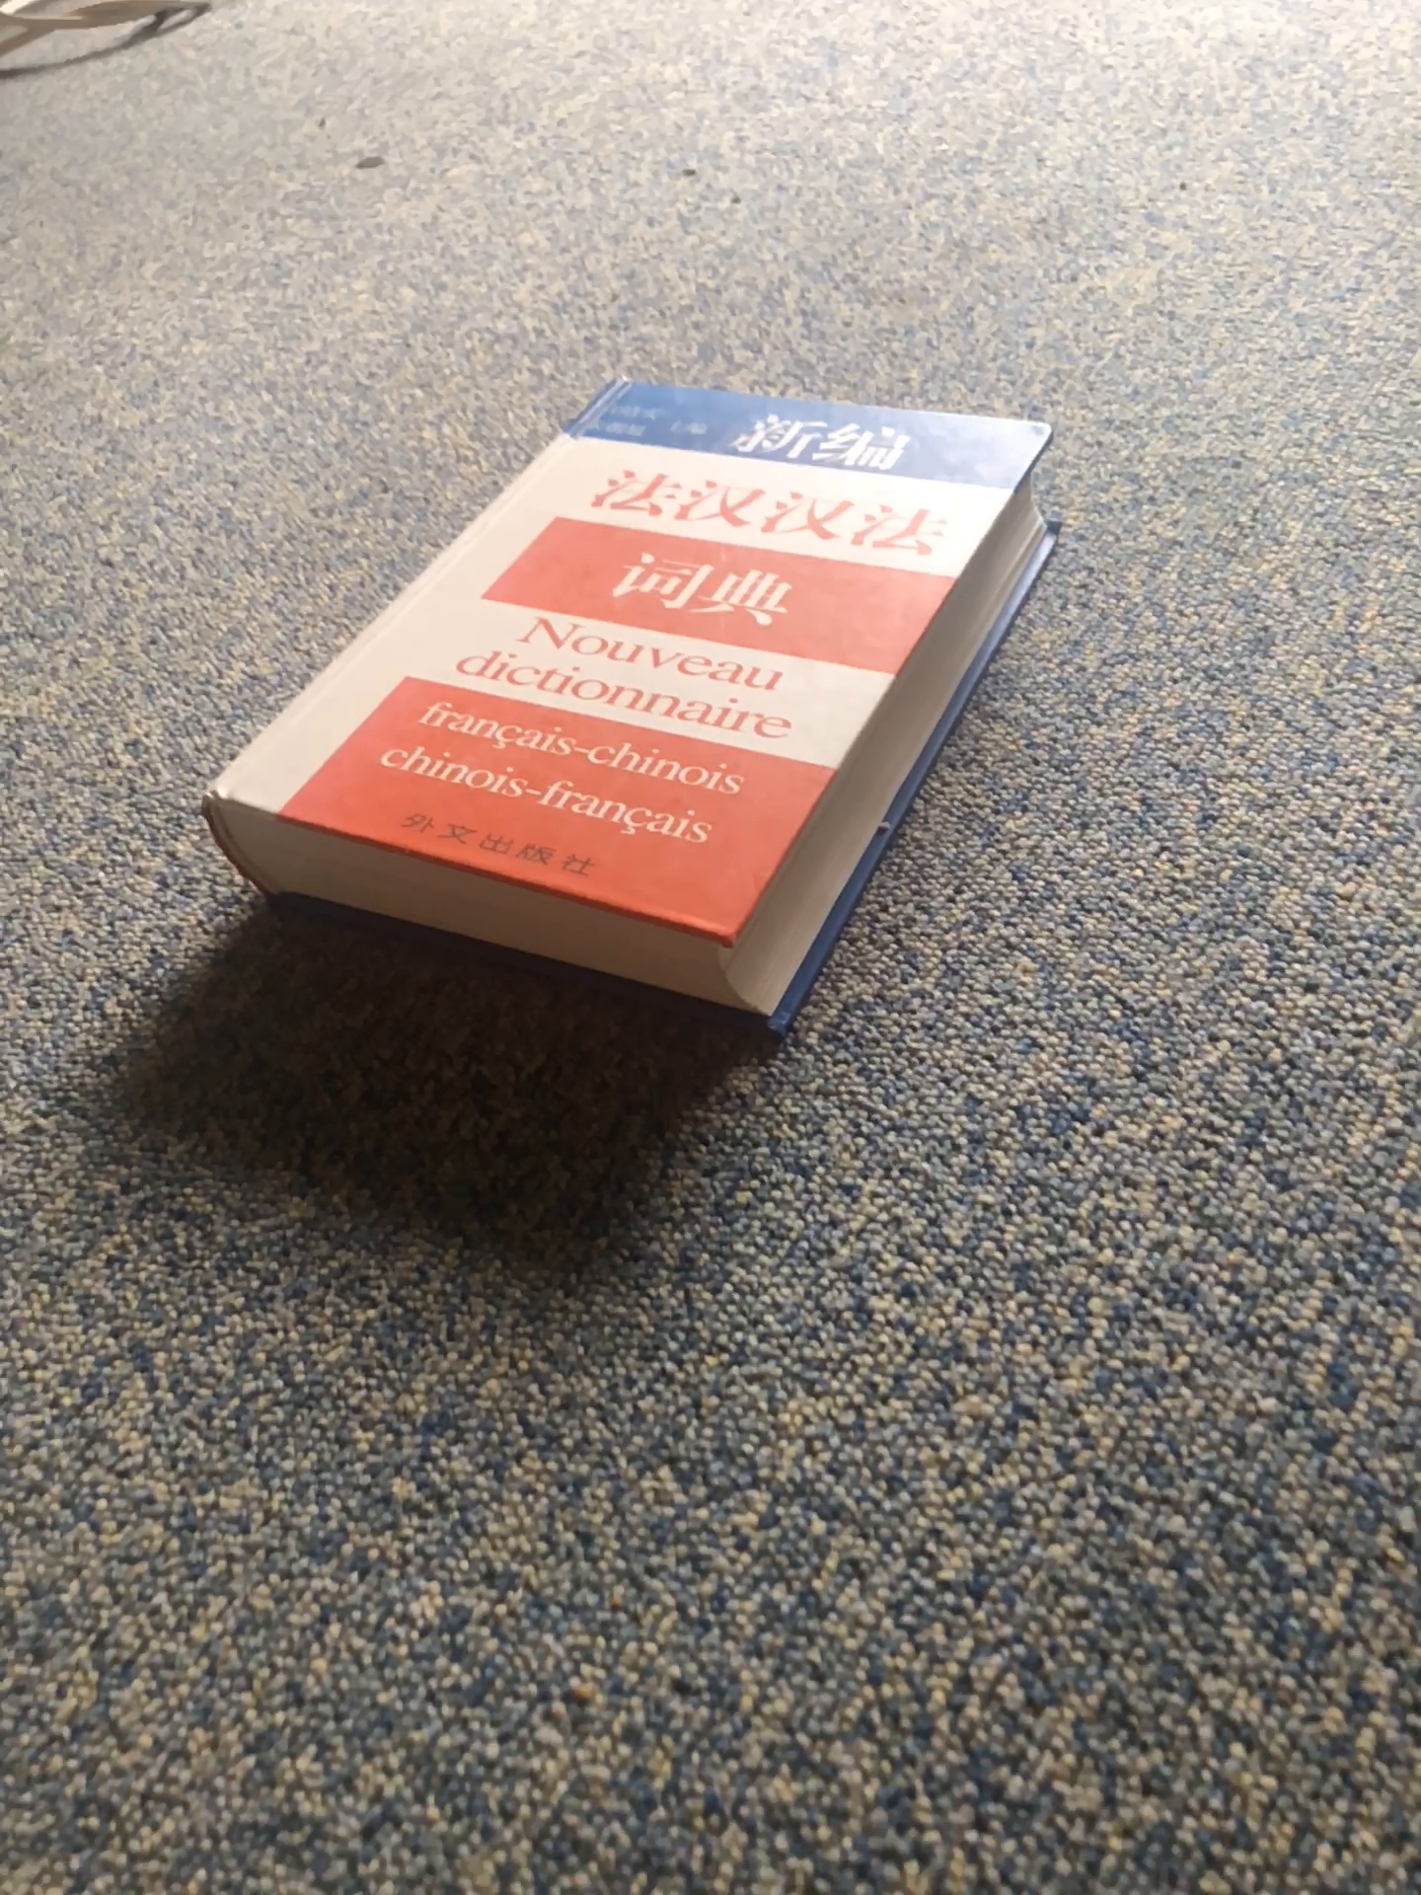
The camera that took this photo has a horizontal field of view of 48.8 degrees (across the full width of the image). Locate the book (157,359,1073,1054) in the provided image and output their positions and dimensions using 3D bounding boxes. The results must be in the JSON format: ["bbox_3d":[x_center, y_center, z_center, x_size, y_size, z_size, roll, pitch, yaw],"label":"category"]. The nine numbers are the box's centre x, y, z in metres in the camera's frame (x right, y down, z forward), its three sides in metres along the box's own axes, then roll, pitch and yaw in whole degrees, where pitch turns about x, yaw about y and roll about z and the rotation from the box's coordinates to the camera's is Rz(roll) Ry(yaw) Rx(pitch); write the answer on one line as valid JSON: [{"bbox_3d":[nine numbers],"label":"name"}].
[{"bbox_3d":[-0.013,-0.080,0.407,0.152,0.034,0.209,15,52,24],"label":"book"}]
